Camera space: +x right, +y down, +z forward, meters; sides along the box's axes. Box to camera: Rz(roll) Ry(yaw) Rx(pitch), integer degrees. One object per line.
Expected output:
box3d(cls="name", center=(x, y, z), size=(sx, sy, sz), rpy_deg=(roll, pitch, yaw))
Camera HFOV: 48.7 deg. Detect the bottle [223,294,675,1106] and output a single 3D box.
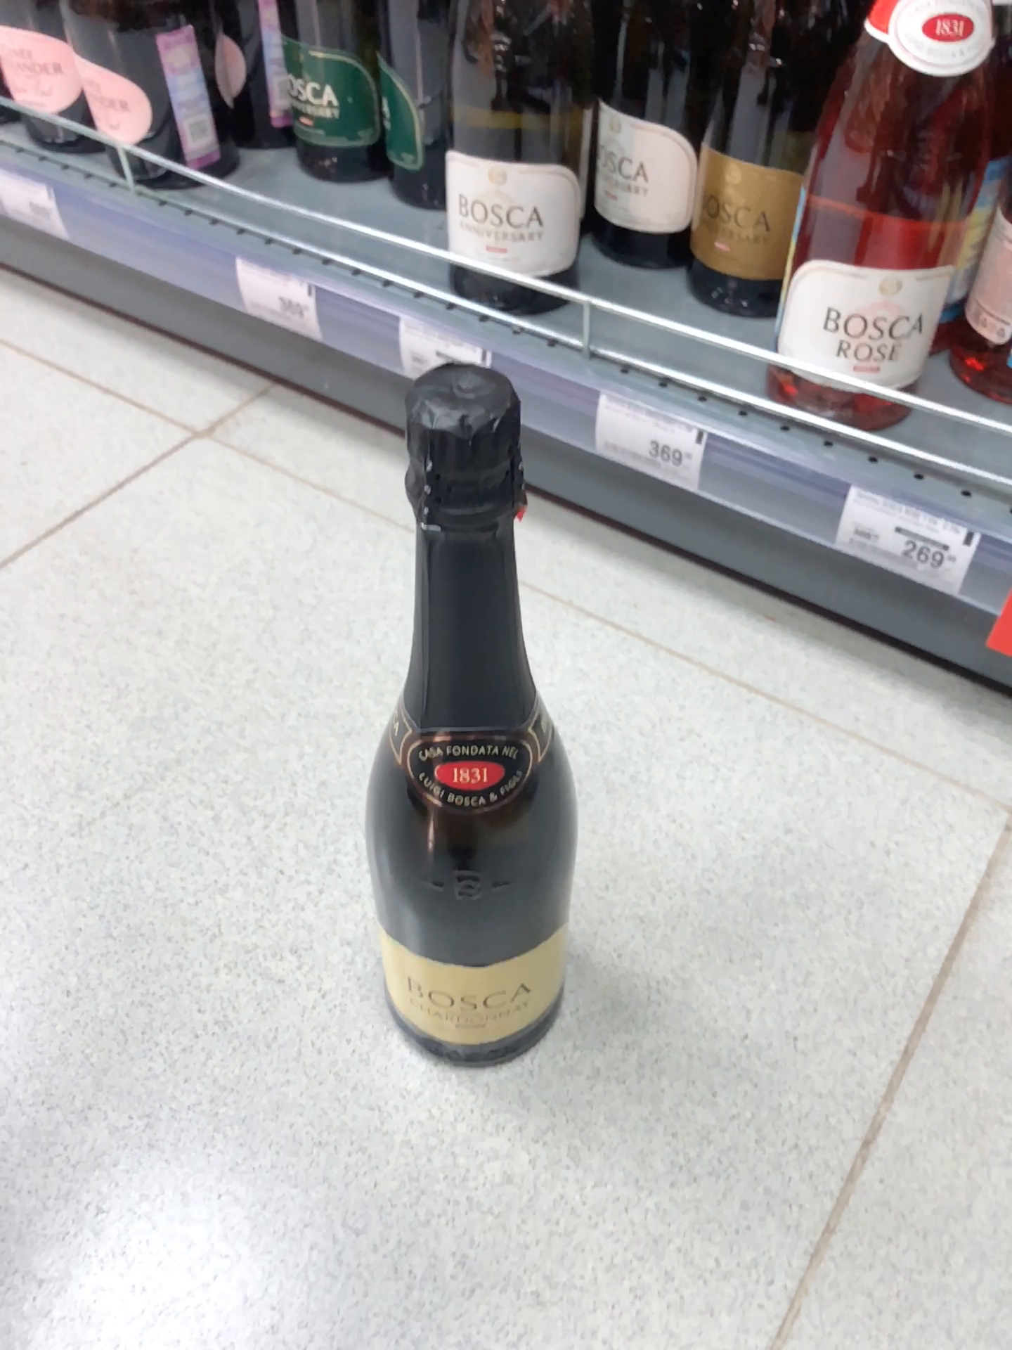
box3d(cls="bottle", center=(-0.011, 0.036, 0.397), size=(0.100, 0.311, 0.090), rpy_deg=(7, 46, 6))
